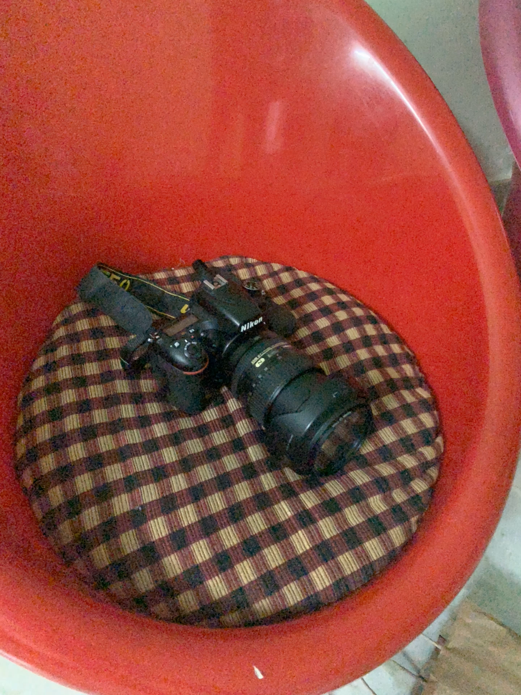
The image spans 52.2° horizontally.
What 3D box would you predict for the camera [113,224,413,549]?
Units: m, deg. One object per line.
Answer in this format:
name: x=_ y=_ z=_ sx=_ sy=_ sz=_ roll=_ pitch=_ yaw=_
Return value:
camera: x=-0.012 y=0.033 z=0.569 sx=0.160 sy=0.179 sz=0.253 roll=-30 pitch=59 yaw=-28
